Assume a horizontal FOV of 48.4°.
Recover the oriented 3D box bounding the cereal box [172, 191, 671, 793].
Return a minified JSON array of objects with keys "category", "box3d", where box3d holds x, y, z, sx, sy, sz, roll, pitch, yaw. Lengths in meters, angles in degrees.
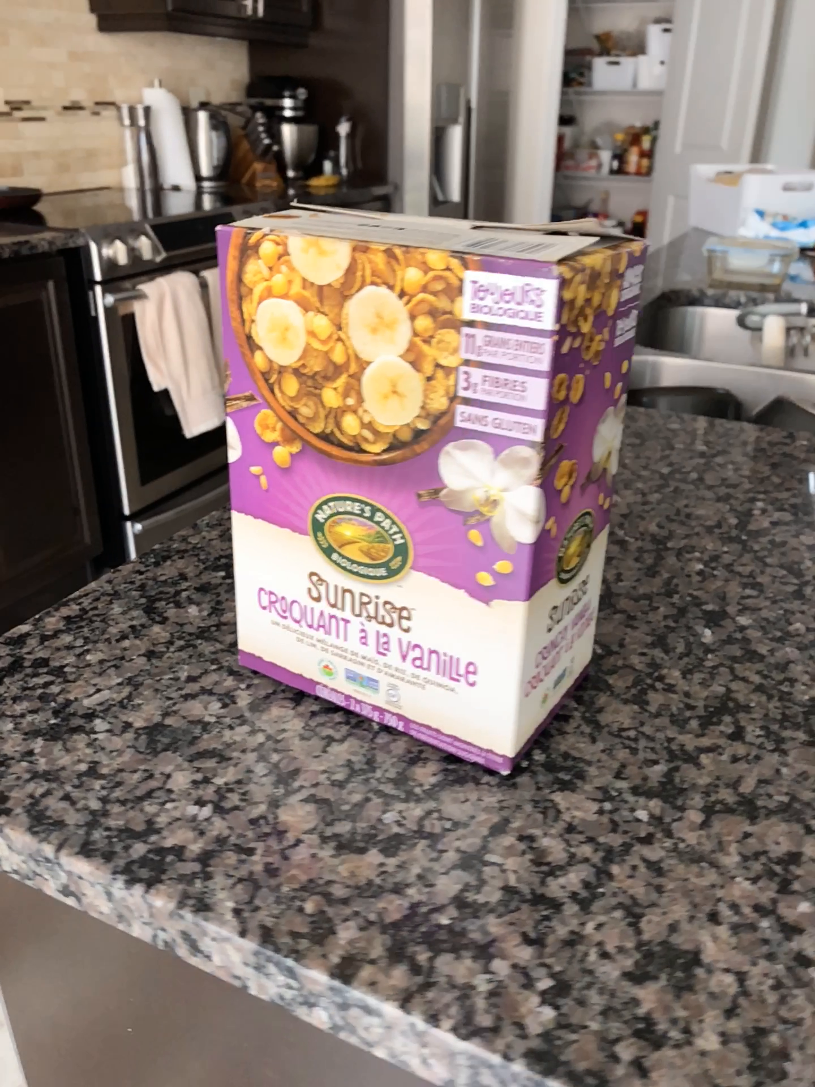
[{"category":"cereal box","box3d":[0.004,-0.036,0.432,0.180,0.229,0.110,16,29,28]}]
